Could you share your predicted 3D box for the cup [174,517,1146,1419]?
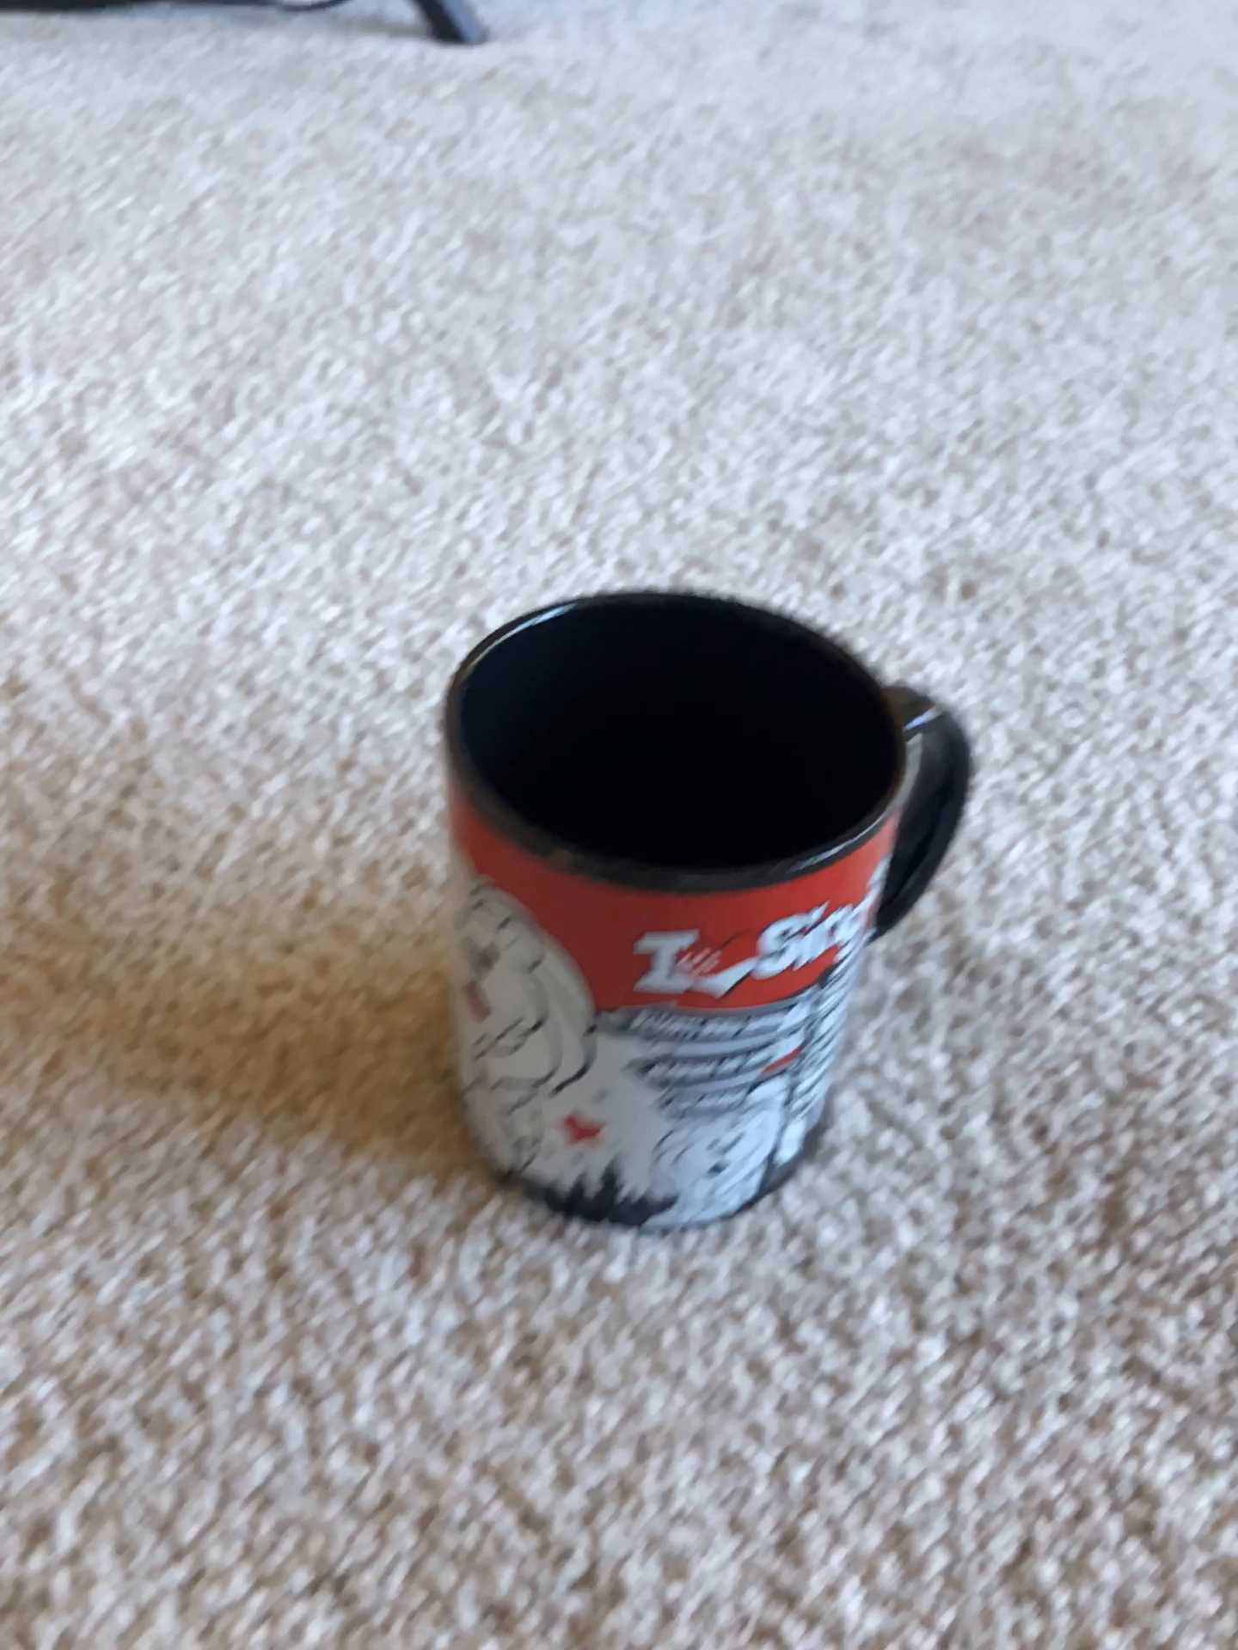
[{"bbox_3d":[0.004,0.018,0.256,0.130,0.090,0.090,-20,46,-23],"label":"cup"}]
